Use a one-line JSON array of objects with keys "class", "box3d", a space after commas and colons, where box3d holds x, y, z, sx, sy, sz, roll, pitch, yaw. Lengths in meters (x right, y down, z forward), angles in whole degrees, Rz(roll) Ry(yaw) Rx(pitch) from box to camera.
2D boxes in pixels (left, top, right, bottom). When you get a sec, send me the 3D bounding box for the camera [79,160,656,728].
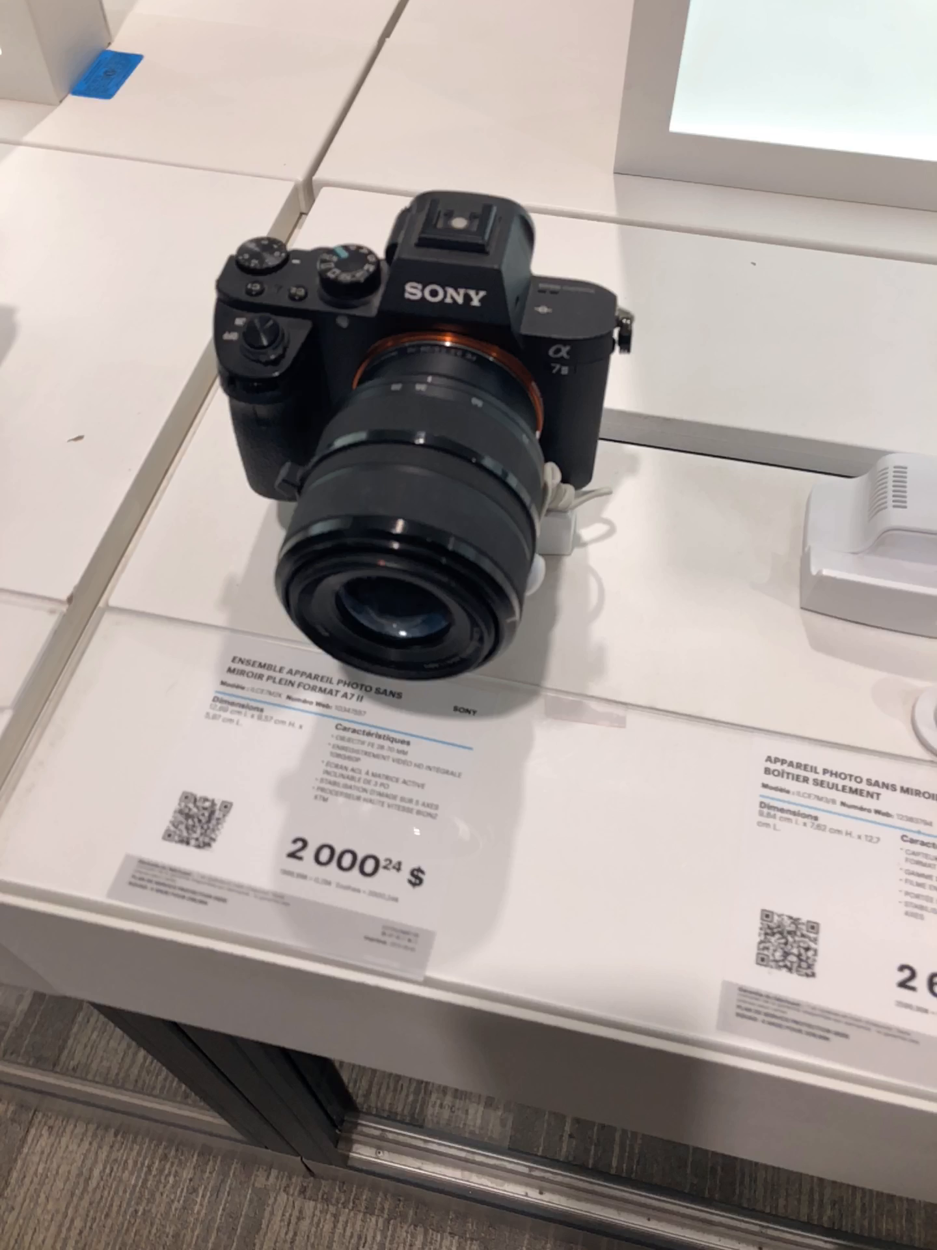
[{"class": "camera", "box3d": [-0.019, -0.058, 0.326, 0.134, 0.099, 0.131, 8, 55, 6]}]
